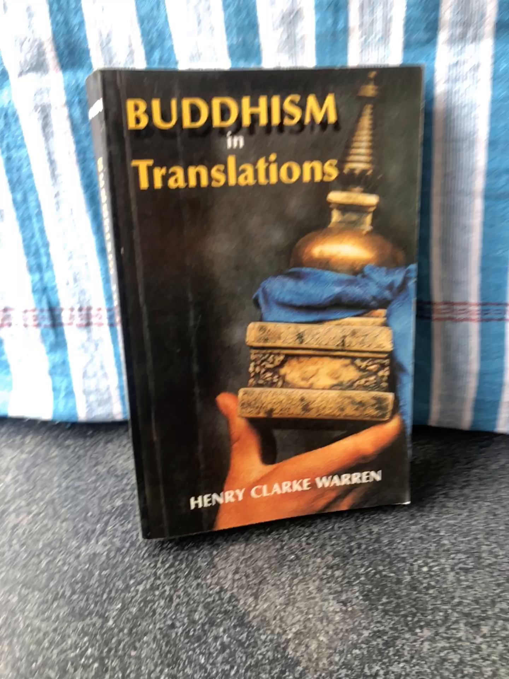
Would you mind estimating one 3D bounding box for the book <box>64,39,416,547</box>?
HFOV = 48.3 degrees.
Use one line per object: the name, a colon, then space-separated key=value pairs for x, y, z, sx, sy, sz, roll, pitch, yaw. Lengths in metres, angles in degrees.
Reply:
book: x=-0.003 y=-0.022 z=0.271 sx=0.140 sy=0.210 sz=0.050 roll=-5 pitch=7 yaw=-9
